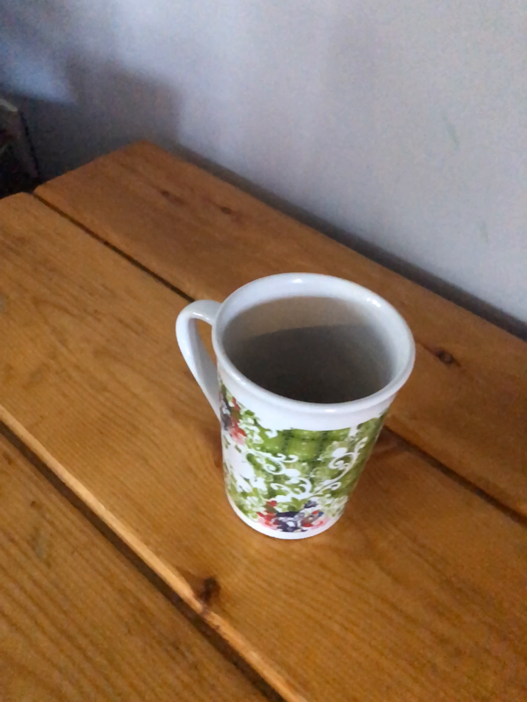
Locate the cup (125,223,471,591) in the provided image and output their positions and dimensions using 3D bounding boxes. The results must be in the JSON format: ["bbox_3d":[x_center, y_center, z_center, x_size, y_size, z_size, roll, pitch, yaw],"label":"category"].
[{"bbox_3d":[0.013,0.027,0.310,0.130,0.120,0.090,29,51,22],"label":"cup"}]
